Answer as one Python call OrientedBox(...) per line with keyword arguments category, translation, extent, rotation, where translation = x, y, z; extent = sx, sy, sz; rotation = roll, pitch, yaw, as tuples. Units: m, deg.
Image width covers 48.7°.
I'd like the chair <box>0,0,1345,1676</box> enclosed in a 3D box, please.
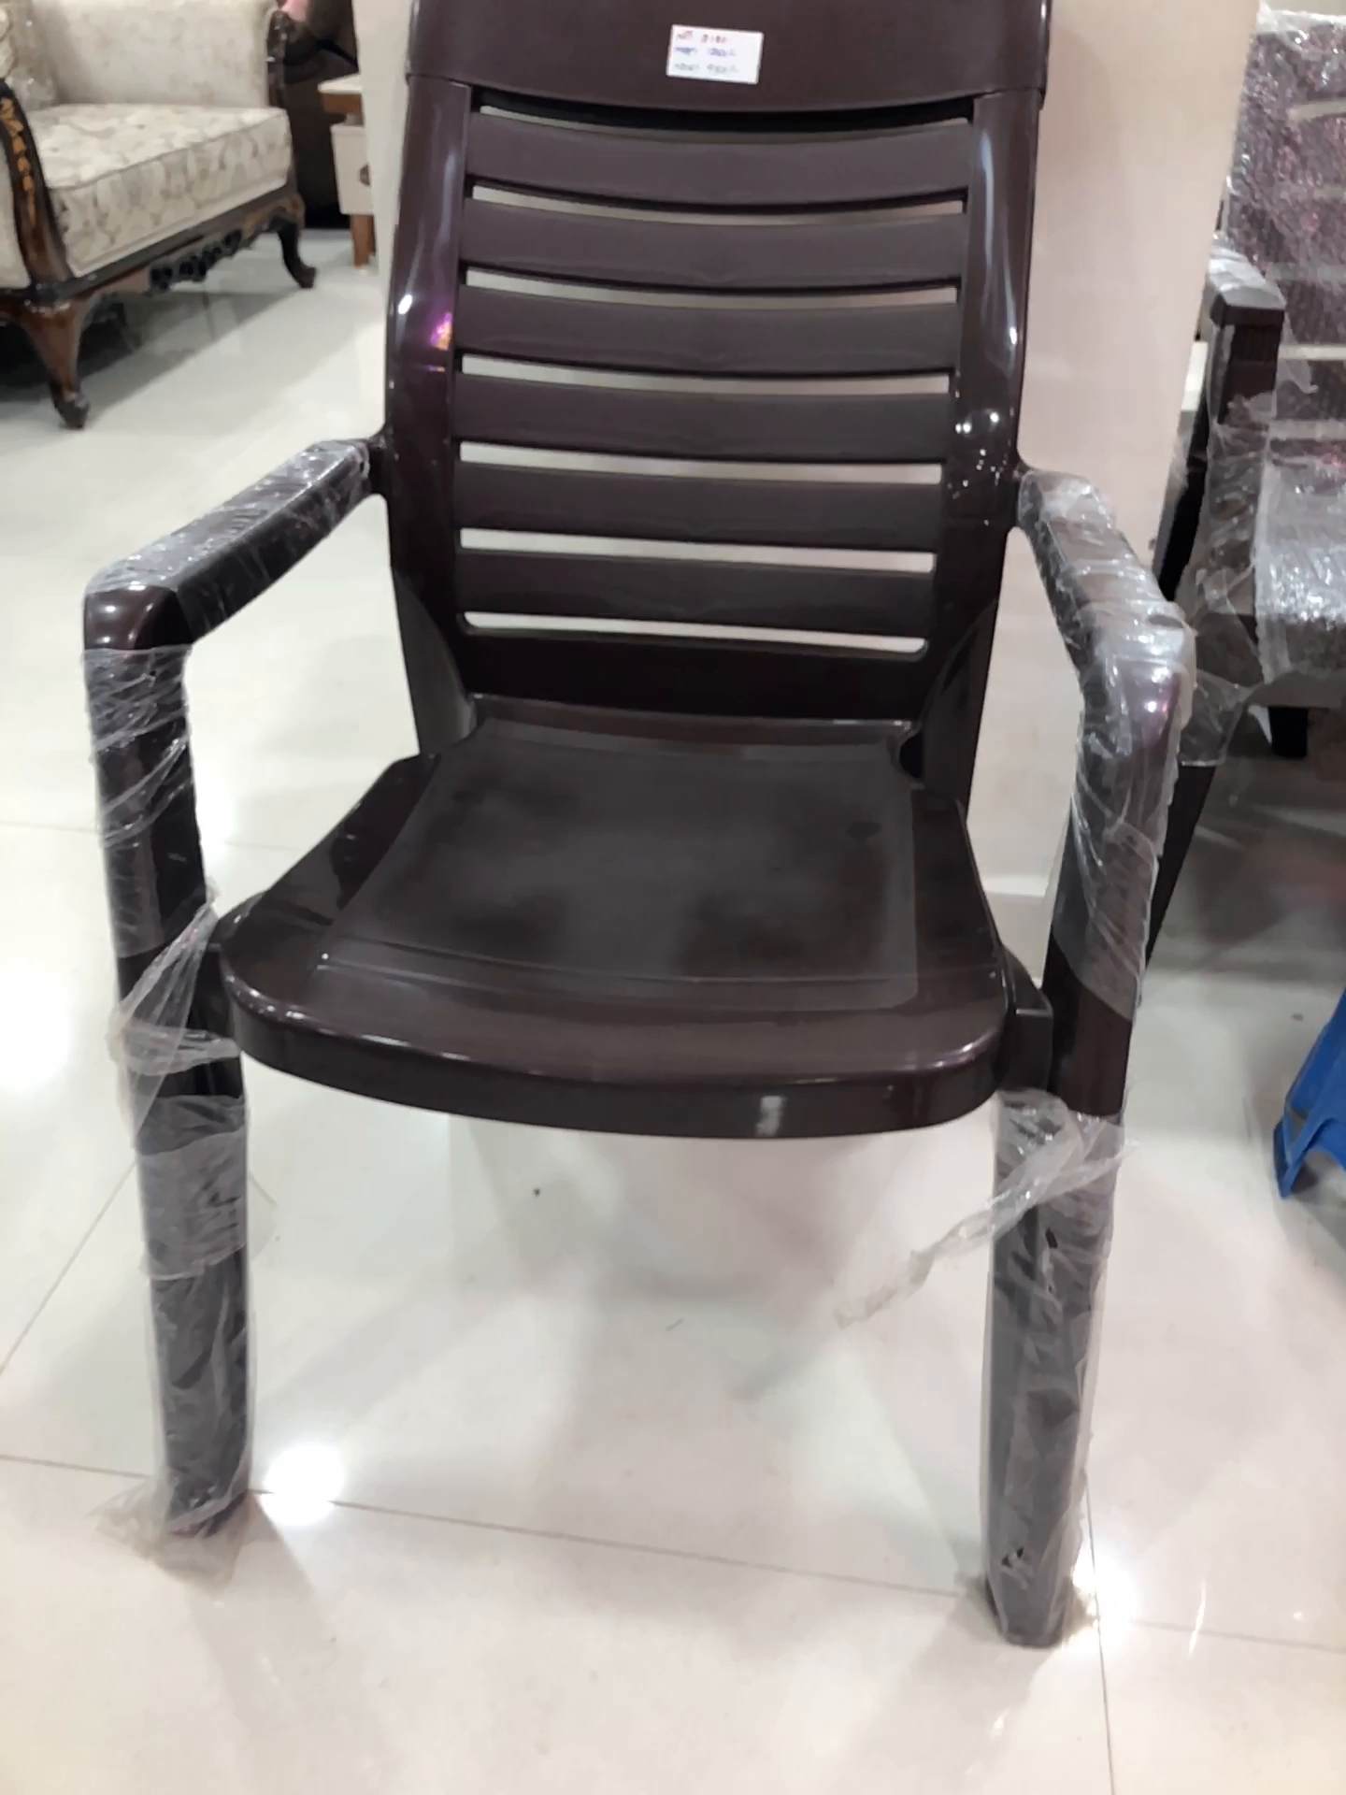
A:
OrientedBox(category="chair", translation=(0.005, -0.122, 1.021), extent=(0.640, 1.003, 0.675), rotation=(5, 32, 6))
